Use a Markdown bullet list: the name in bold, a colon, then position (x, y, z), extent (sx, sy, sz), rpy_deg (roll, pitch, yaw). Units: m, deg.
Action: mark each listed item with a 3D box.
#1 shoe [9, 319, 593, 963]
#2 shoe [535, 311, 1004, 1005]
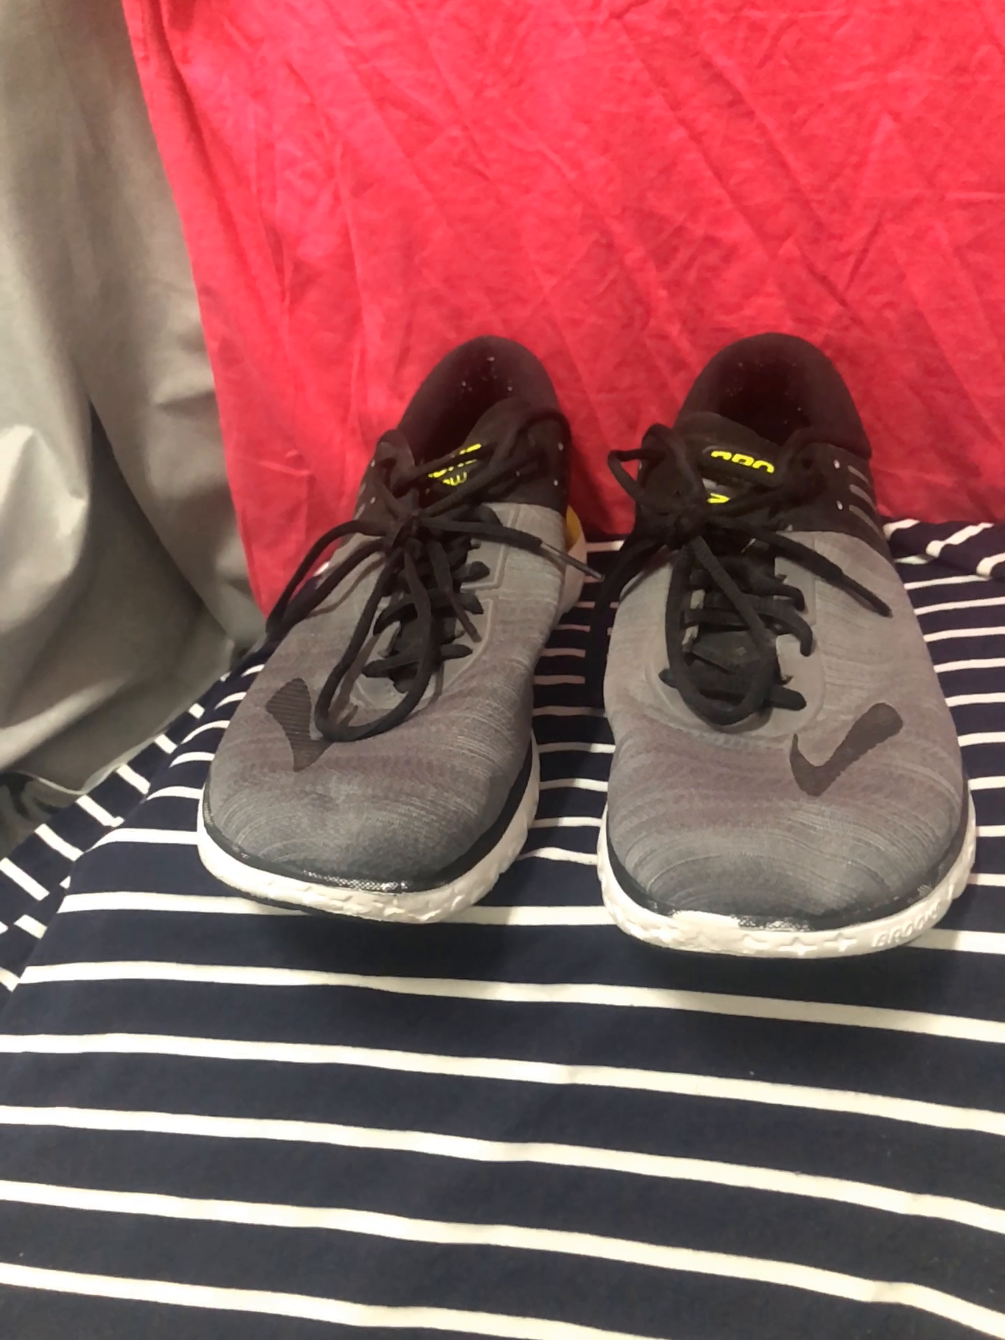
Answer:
- **shoe**: position (-0.032, -0.040, 0.374), extent (0.102, 0.079, 0.292), rpy_deg (0, 31, 9)
- **shoe**: position (0.083, -0.035, 0.346), extent (0.104, 0.079, 0.282), rpy_deg (0, 31, 10)
